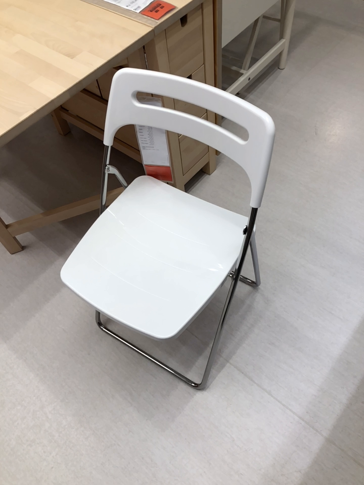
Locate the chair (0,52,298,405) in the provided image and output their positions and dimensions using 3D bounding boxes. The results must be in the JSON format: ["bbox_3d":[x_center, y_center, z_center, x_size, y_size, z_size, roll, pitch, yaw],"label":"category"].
[{"bbox_3d":[-0.056,0.021,1.006,0.441,0.716,0.421,26,63,21],"label":"chair"}]
